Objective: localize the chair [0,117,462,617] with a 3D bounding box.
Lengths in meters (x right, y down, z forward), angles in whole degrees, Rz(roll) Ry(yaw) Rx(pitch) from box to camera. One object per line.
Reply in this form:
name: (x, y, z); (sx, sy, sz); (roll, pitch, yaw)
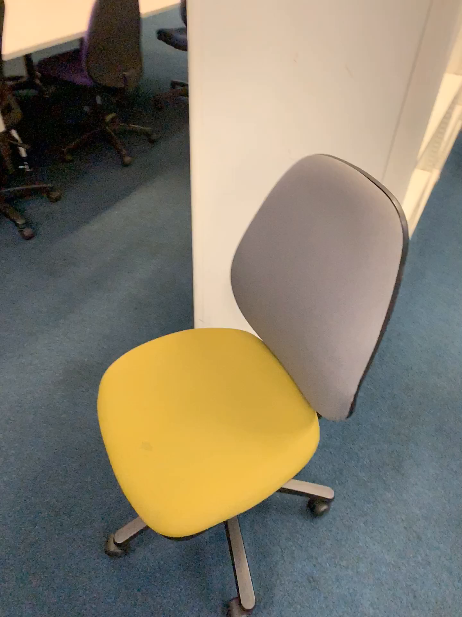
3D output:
chair: (-0.025, 0.202, 1.040); (0.661, 0.921, 0.645); (-18, 47, -22)
